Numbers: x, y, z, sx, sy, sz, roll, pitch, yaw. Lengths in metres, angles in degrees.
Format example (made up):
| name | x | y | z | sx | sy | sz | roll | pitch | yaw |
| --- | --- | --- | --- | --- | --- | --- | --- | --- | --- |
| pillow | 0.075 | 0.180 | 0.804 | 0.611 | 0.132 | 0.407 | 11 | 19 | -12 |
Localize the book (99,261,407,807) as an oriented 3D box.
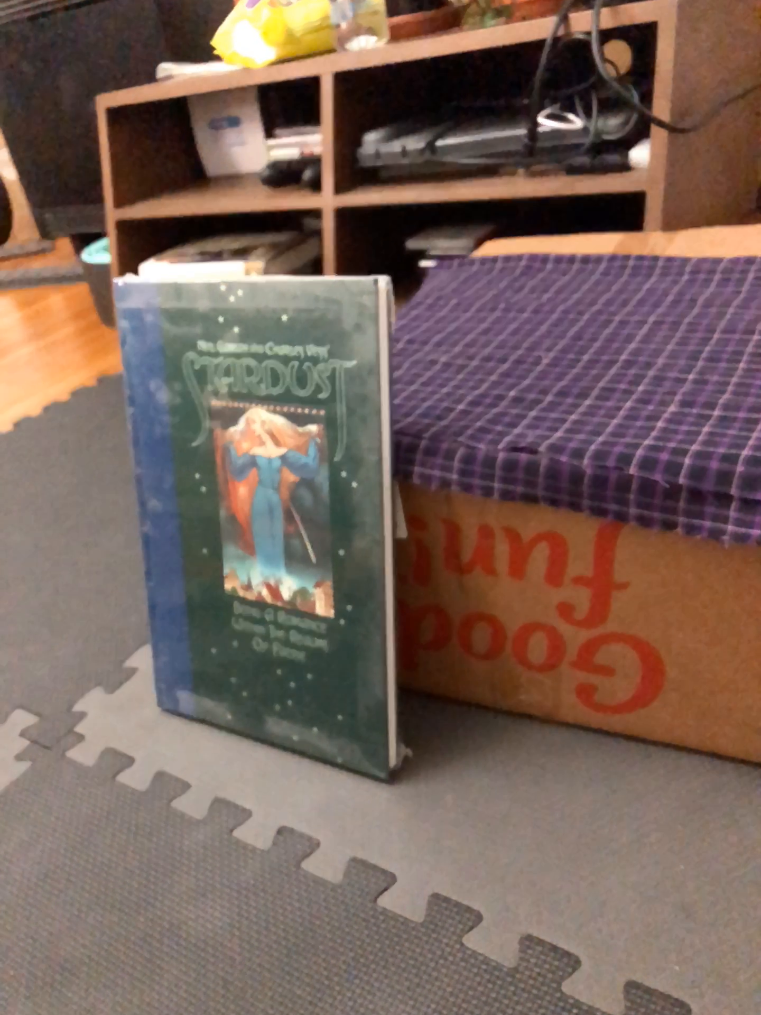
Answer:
| name | x | y | z | sx | sy | sz | roll | pitch | yaw |
| --- | --- | --- | --- | --- | --- | --- | --- | --- | --- |
| book | -0.084 | 0.015 | 0.552 | 0.210 | 0.329 | 0.020 | 7 | 17 | 31 |
